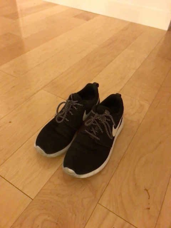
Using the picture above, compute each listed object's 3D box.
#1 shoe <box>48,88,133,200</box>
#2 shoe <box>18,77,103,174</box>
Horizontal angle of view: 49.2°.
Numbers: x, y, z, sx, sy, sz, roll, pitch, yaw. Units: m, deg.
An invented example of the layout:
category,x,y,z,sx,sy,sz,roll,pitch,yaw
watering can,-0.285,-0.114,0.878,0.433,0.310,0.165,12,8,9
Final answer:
category,x,y,z,sx,sy,sz,roll,pitch,yaw
shoe,0.029,0.059,0.518,0.110,0.099,0.292,21,46,17
shoe,-0.054,0.015,0.563,0.100,0.099,0.292,21,46,17
